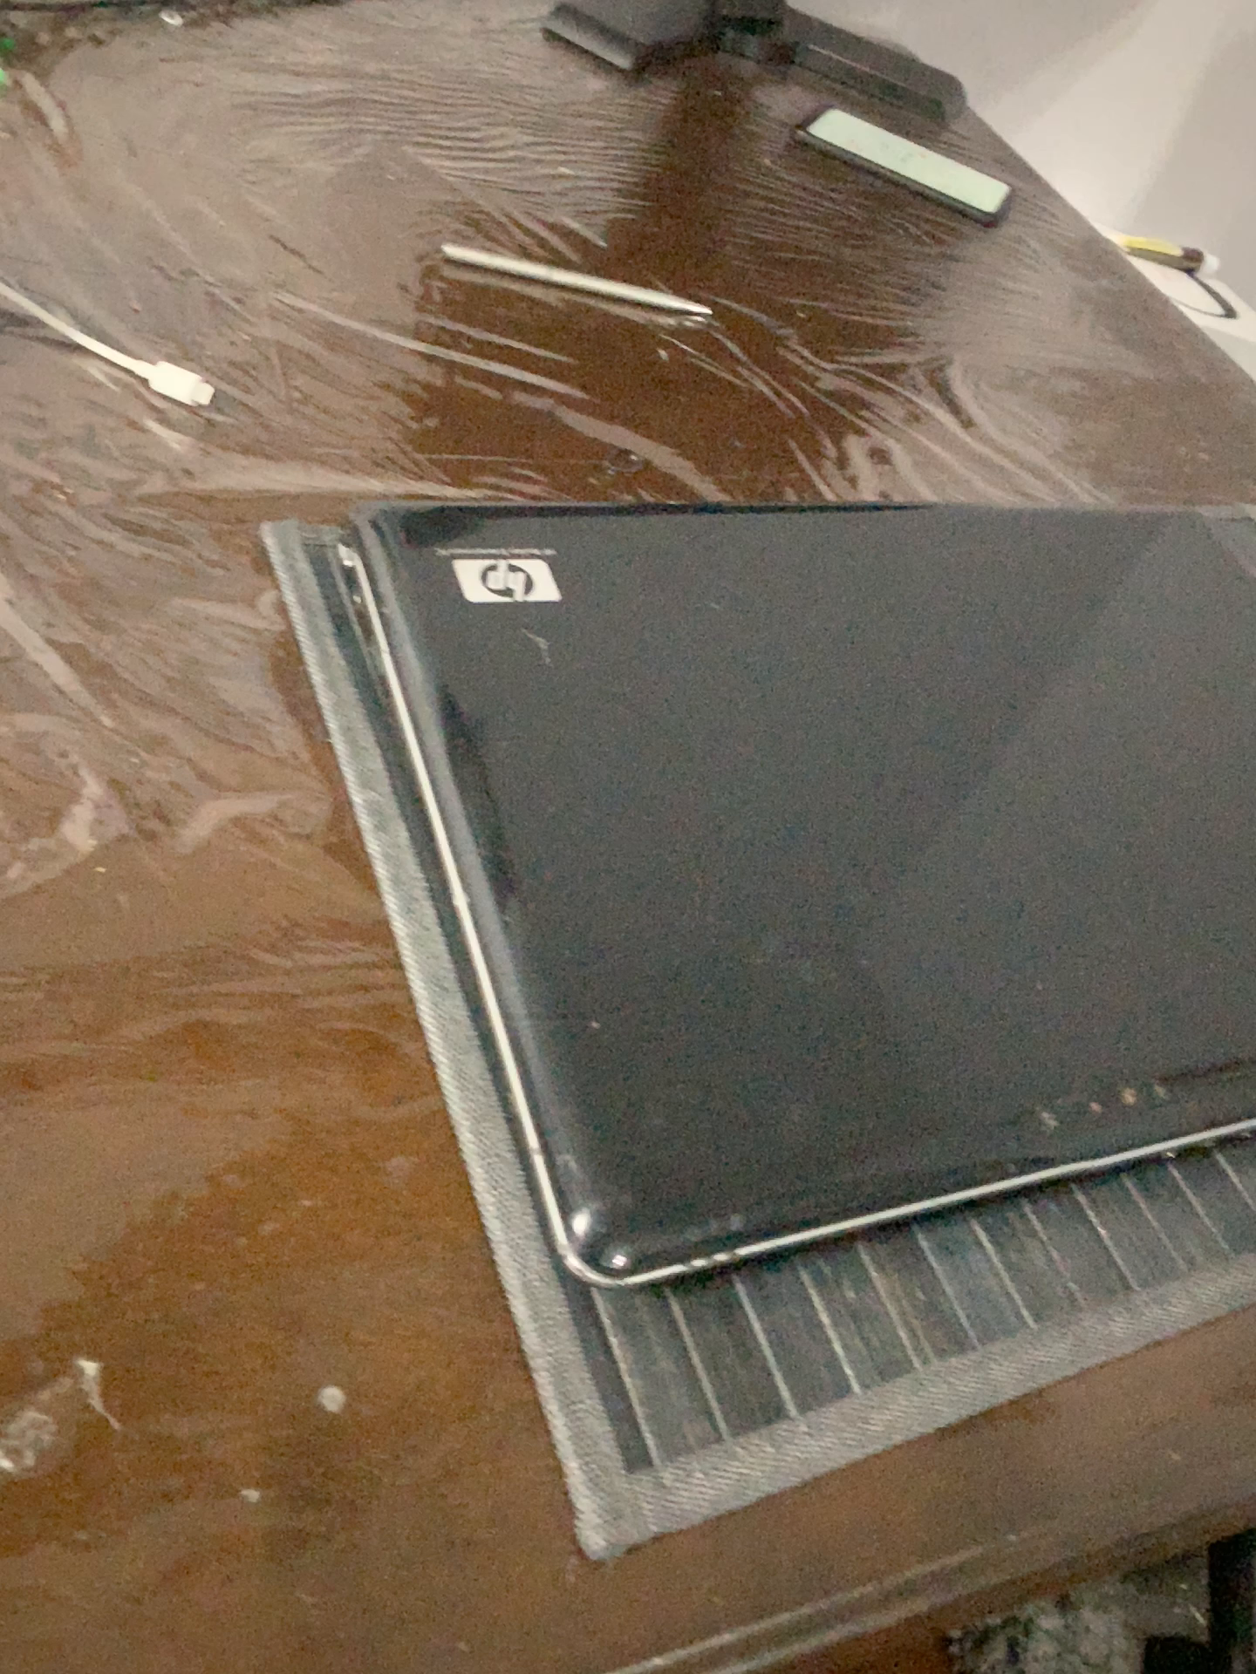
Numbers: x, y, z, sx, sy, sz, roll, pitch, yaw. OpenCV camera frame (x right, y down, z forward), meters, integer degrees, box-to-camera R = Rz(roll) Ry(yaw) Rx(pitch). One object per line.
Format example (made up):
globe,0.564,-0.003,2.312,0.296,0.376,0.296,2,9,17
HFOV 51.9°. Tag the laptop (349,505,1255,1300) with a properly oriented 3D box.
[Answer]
laptop,0.107,-0.020,0.388,0.339,0.009,0.231,-6,54,-26
